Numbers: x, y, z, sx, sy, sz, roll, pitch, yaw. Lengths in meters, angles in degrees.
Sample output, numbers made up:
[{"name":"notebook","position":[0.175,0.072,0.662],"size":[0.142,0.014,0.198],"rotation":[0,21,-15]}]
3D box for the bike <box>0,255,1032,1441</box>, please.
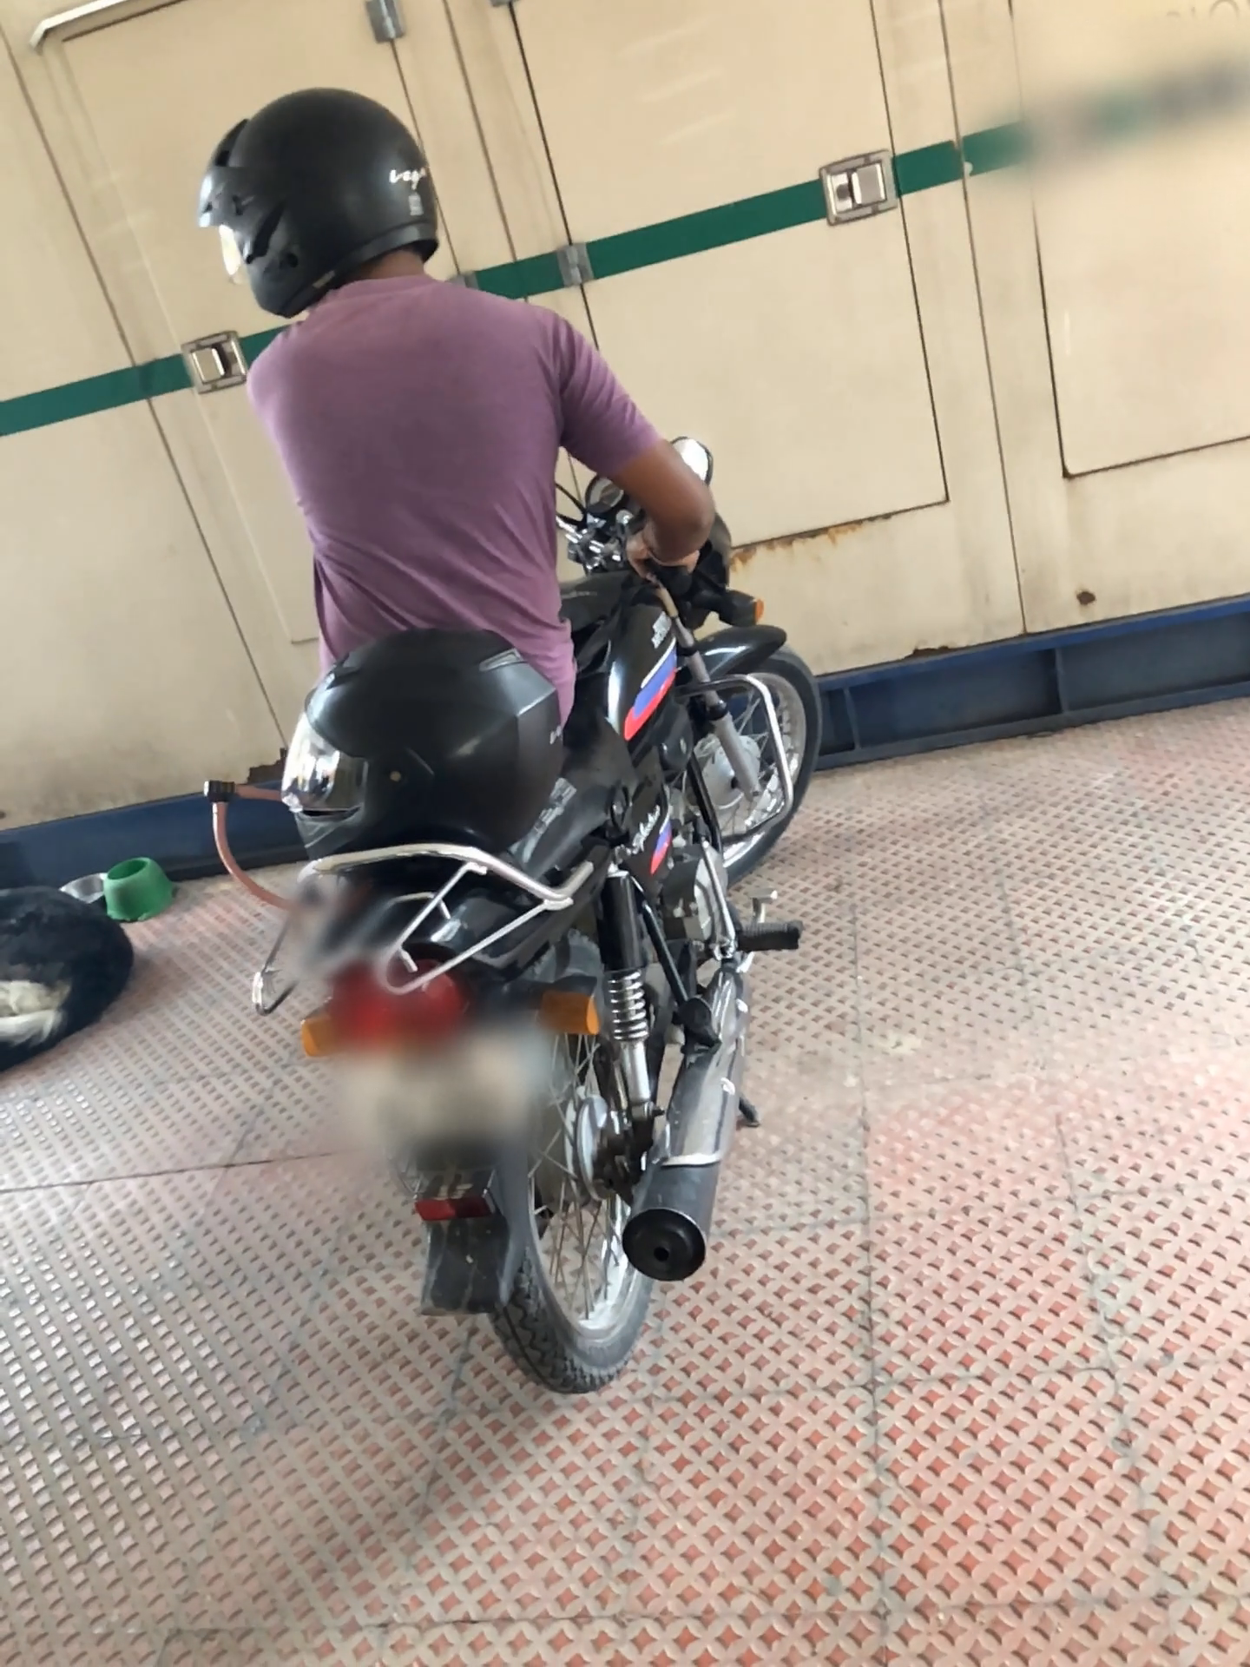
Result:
[{"name":"bike","position":[0.096,-0.118,2.064],"size":[0.815,0.927,1.602],"rotation":[-5,30,21]}]
